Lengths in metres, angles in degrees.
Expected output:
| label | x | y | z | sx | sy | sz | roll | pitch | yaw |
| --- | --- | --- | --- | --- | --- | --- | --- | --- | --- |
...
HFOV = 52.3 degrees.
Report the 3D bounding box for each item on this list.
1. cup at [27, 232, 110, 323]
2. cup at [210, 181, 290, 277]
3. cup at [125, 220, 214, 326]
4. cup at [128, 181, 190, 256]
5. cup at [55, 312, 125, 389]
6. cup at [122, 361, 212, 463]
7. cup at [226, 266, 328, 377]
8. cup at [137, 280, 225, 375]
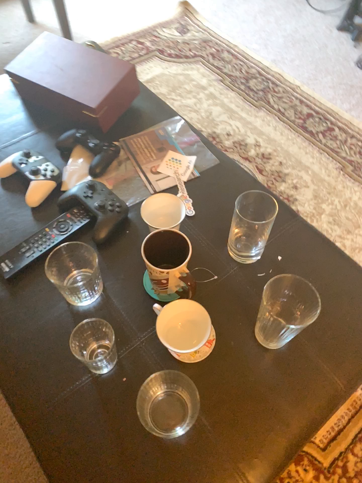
| label | x | y | z | sx | sy | sz | roll | pitch | yaw |
| --- | --- | --- | --- | --- | --- | --- | --- | --- | --- |
| cup | -0.201 | 0.068 | 0.677 | 0.090 | 0.120 | 0.090 | 1 | 57 | -2 |
| cup | 0.127 | -0.021 | 0.711 | 0.090 | 0.139 | 0.090 | 1 | 57 | -2 |
| cup | -0.023 | 0.059 | 0.680 | 0.090 | 0.120 | 0.130 | -34 | 65 | -22 |
| cup | -0.043 | -0.047 | 0.762 | 0.090 | 0.080 | 0.110 | 16 | 58 | 8 |
| cup | -0.146 | 0.182 | 0.611 | 0.070 | 0.100 | 0.070 | 1 | 57 | -2 |
| cup | -0.022 | 0.265 | 0.570 | 0.090 | 0.120 | 0.090 | 1 | 57 | -2 |
| cup | 0.153 | 0.144 | 0.631 | 0.090 | 0.189 | 0.090 | 1 | 57 | -2 |
| cup | -0.002 | 0.144 | 0.625 | 0.110 | 0.070 | 0.090 | 38 | 64 | 20 |
